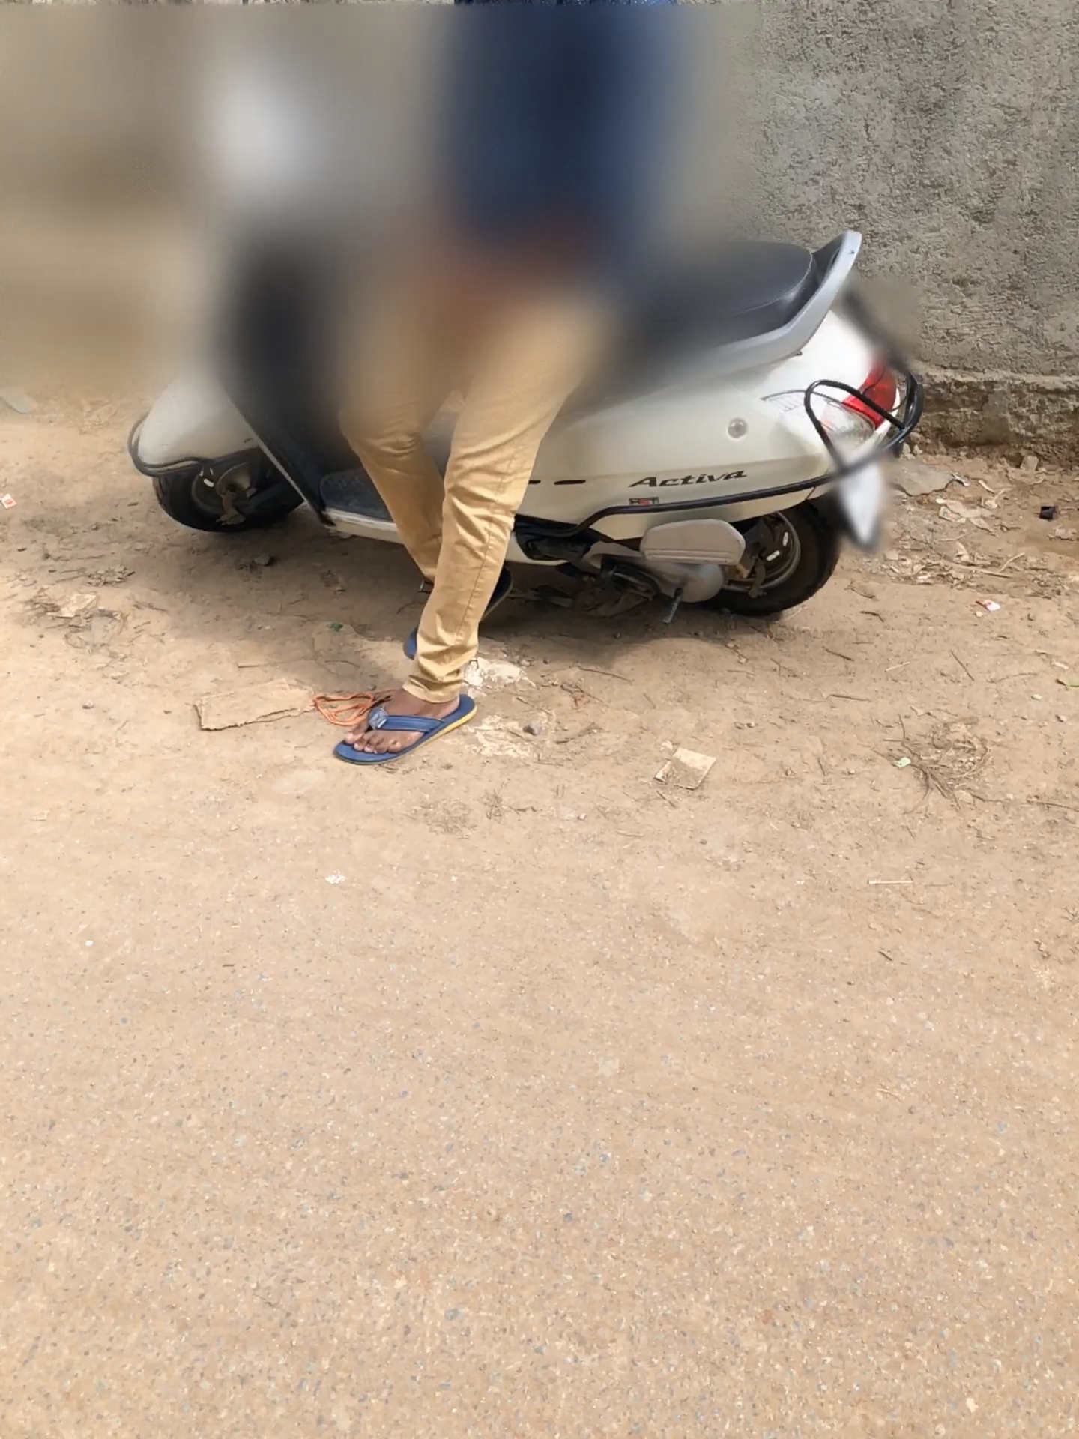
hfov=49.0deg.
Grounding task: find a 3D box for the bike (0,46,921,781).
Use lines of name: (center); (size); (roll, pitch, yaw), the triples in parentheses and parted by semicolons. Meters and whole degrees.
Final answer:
bike: (-0.218, -0.641, 2.352); (1.622, 1.139, 0.673); (8, 36, 13)
